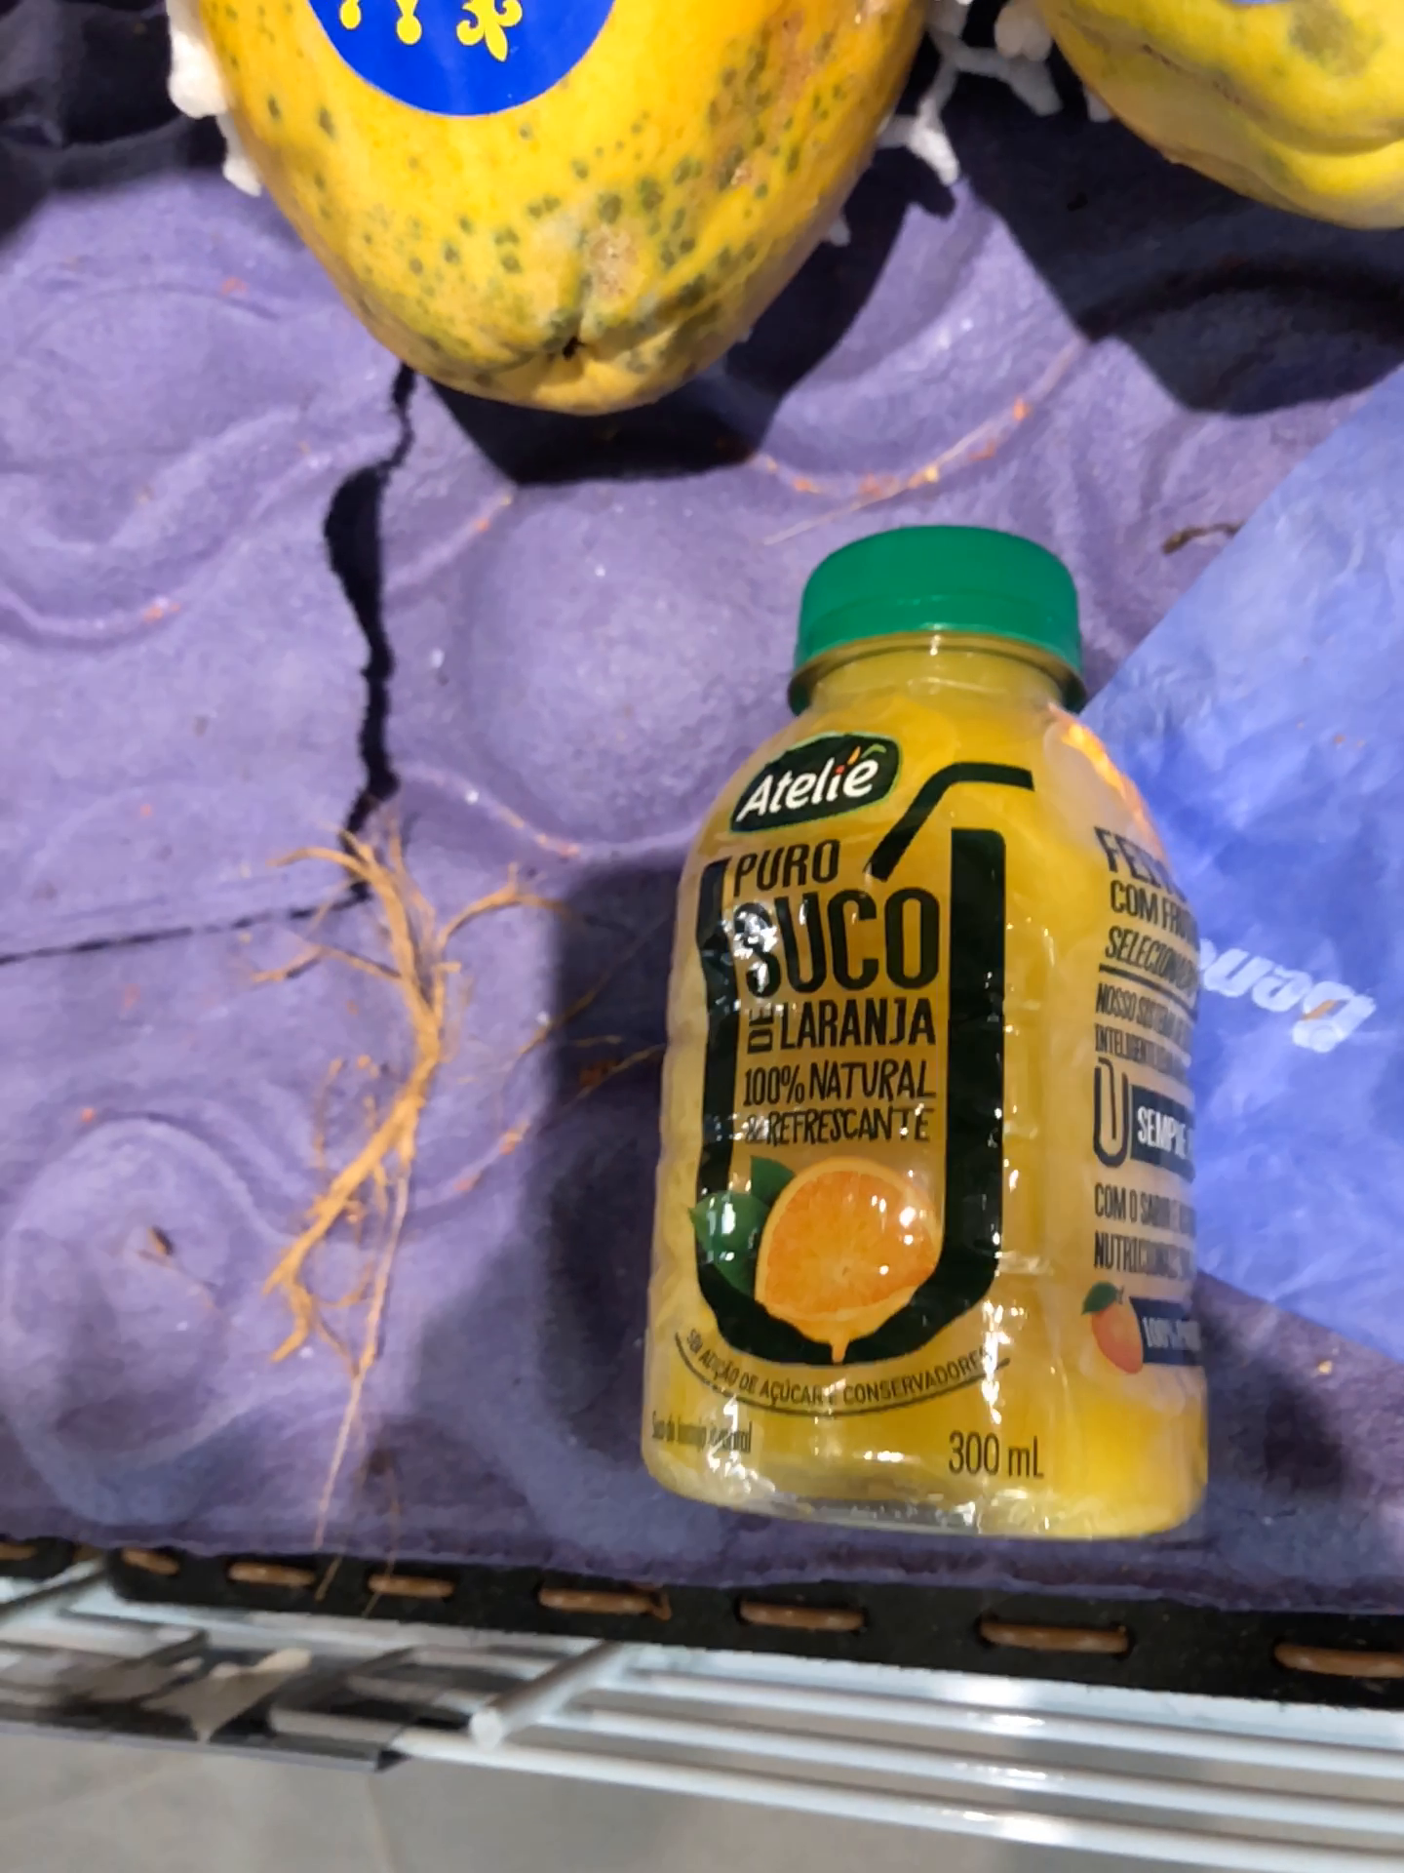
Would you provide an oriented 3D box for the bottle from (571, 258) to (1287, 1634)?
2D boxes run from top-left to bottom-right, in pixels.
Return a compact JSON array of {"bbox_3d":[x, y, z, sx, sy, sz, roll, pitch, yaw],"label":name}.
[{"bbox_3d":[0.030,0.003,0.201,0.070,0.060,0.140,-4,80,26],"label":"bottle"}]
